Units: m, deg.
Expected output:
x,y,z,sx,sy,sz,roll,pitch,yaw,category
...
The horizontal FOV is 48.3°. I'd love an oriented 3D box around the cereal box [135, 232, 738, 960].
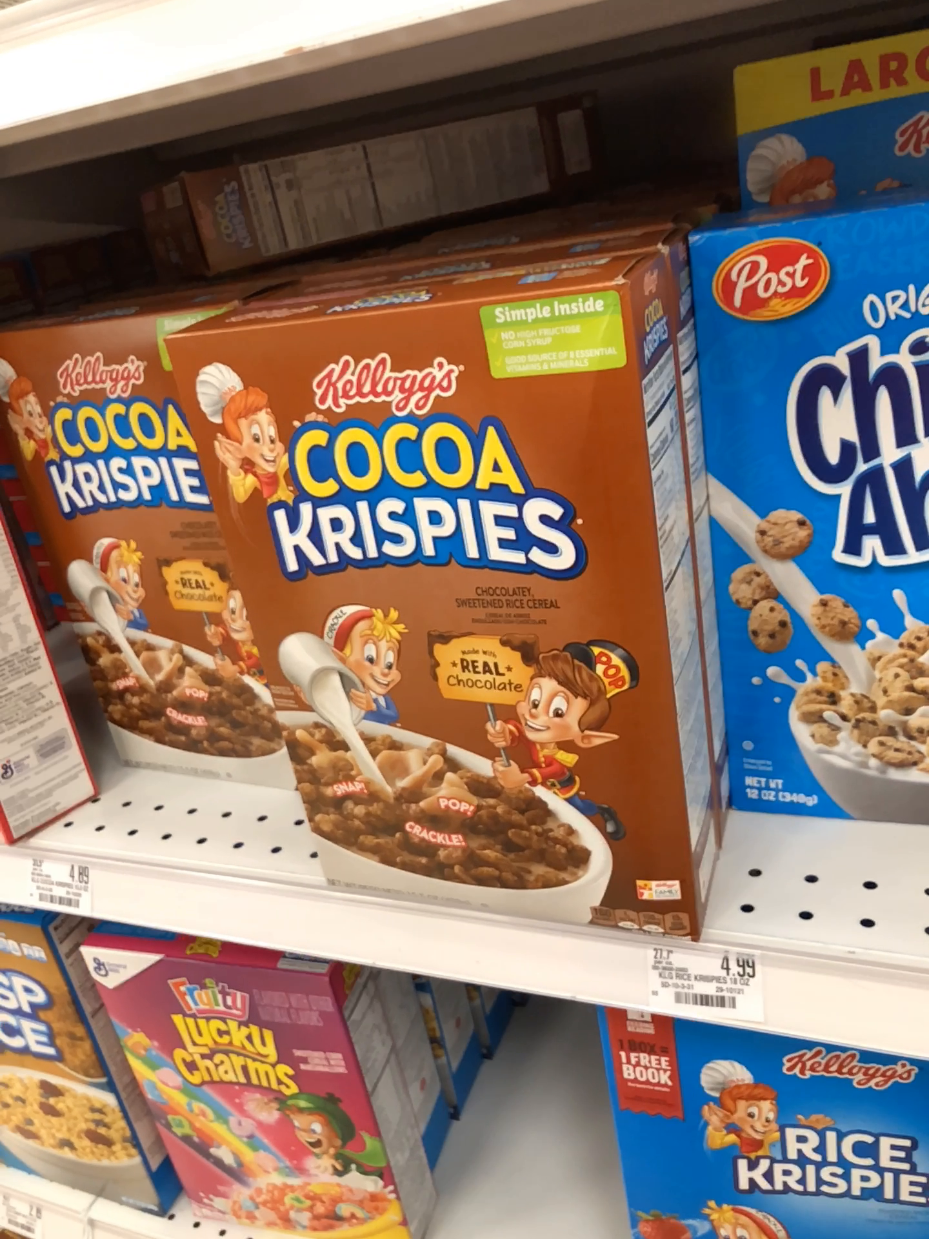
x,y,z,sx,sy,sz,roll,pitch,yaw,category
0.002,0.002,0.455,0.200,0.289,0.070,1,28,25,cereal box
